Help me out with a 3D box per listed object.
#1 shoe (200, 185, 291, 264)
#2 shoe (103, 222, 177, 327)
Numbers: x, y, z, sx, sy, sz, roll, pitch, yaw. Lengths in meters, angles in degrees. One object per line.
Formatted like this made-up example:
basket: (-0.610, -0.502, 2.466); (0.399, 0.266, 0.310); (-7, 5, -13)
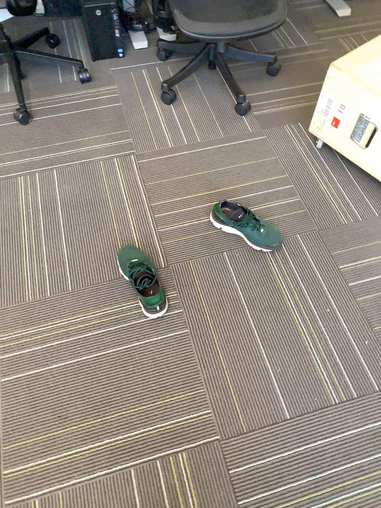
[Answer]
shoe: (0.203, -0.114, 1.493); (0.310, 0.139, 0.130); (29, 62, 16)
shoe: (-0.173, 0.068, 1.334); (0.130, 0.139, 0.311); (-22, 61, -13)
